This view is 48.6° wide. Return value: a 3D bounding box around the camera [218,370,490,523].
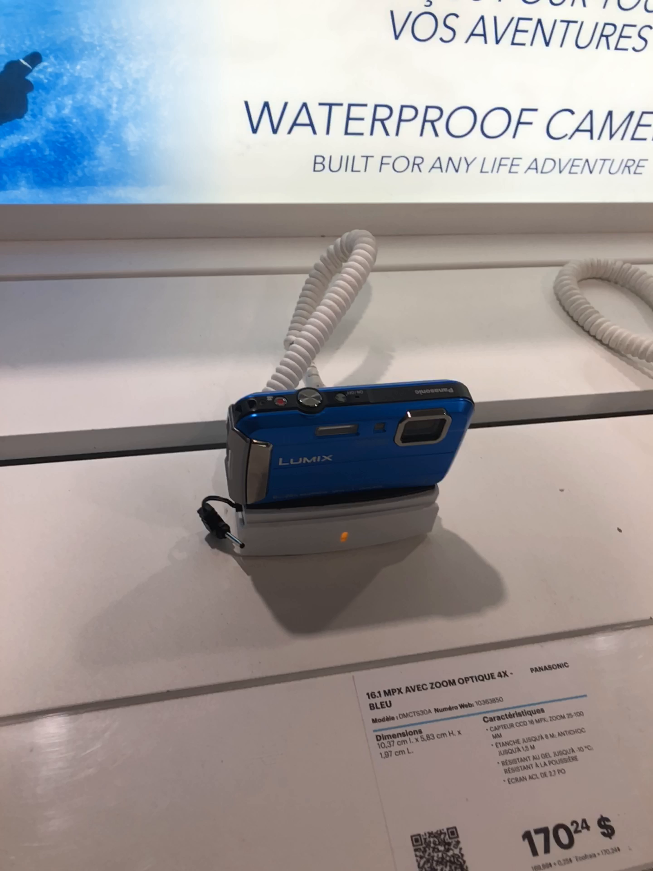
[{"bbox_3d":[0.009,0.005,0.304,0.106,0.060,0.020,-5,48,-13],"label":"camera"}]
